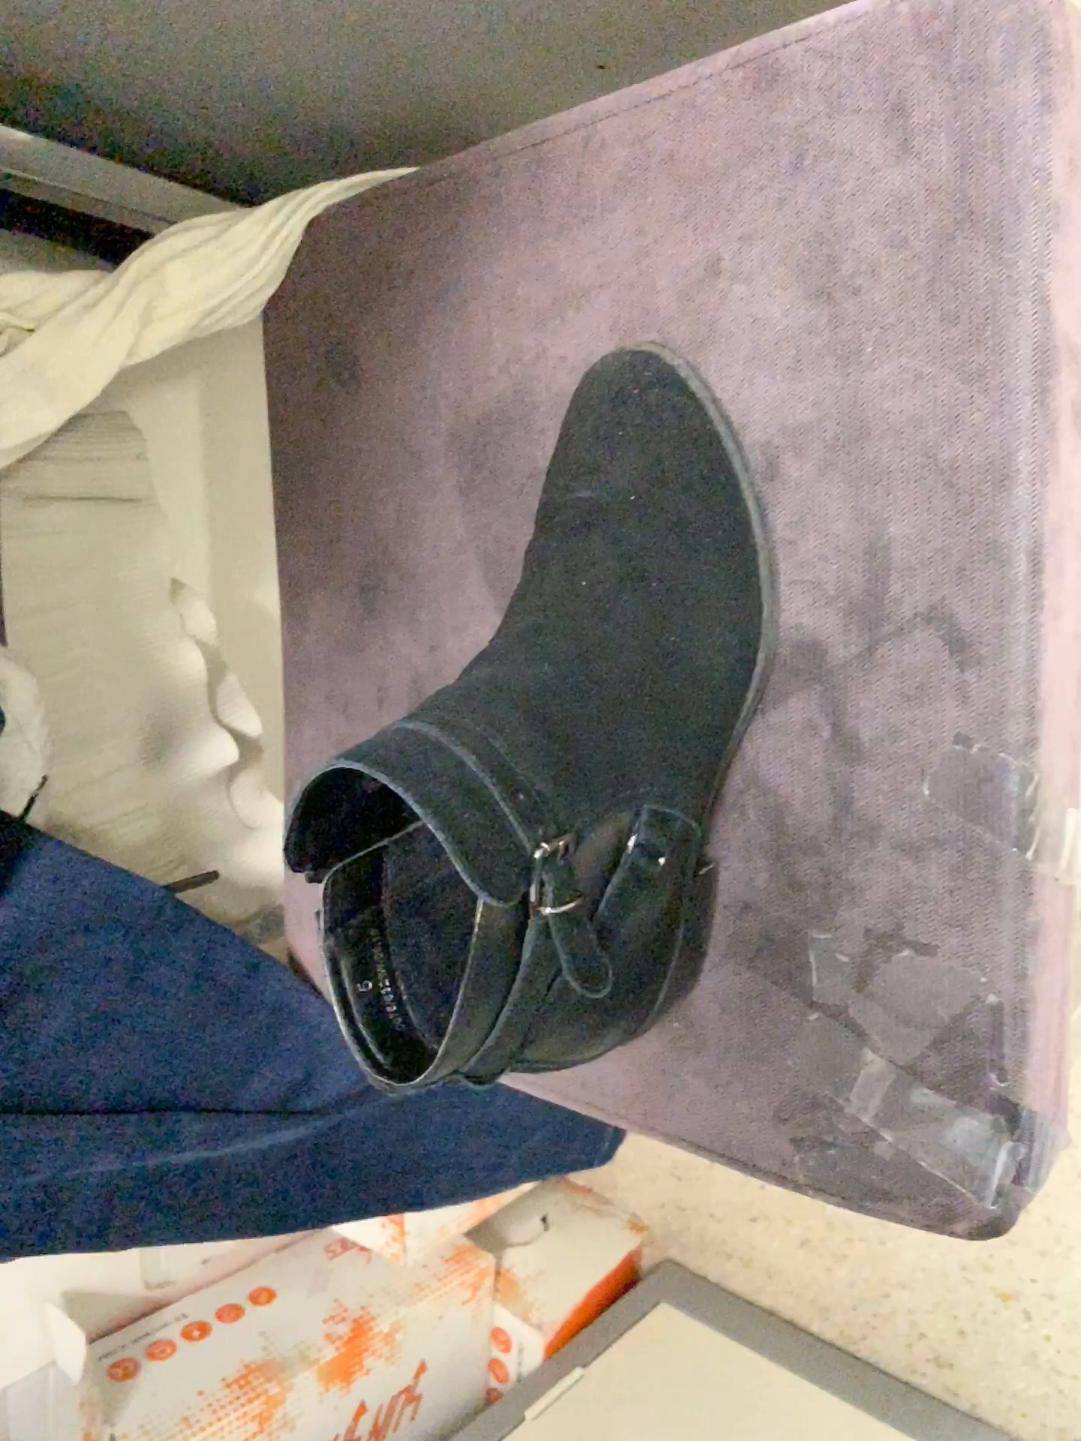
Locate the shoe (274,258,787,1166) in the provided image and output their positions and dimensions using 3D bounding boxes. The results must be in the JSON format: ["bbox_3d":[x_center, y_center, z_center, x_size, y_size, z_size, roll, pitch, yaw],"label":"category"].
[{"bbox_3d":[0.000,-0.006,0.370,0.101,0.137,0.235,6,98,39],"label":"shoe"}]
